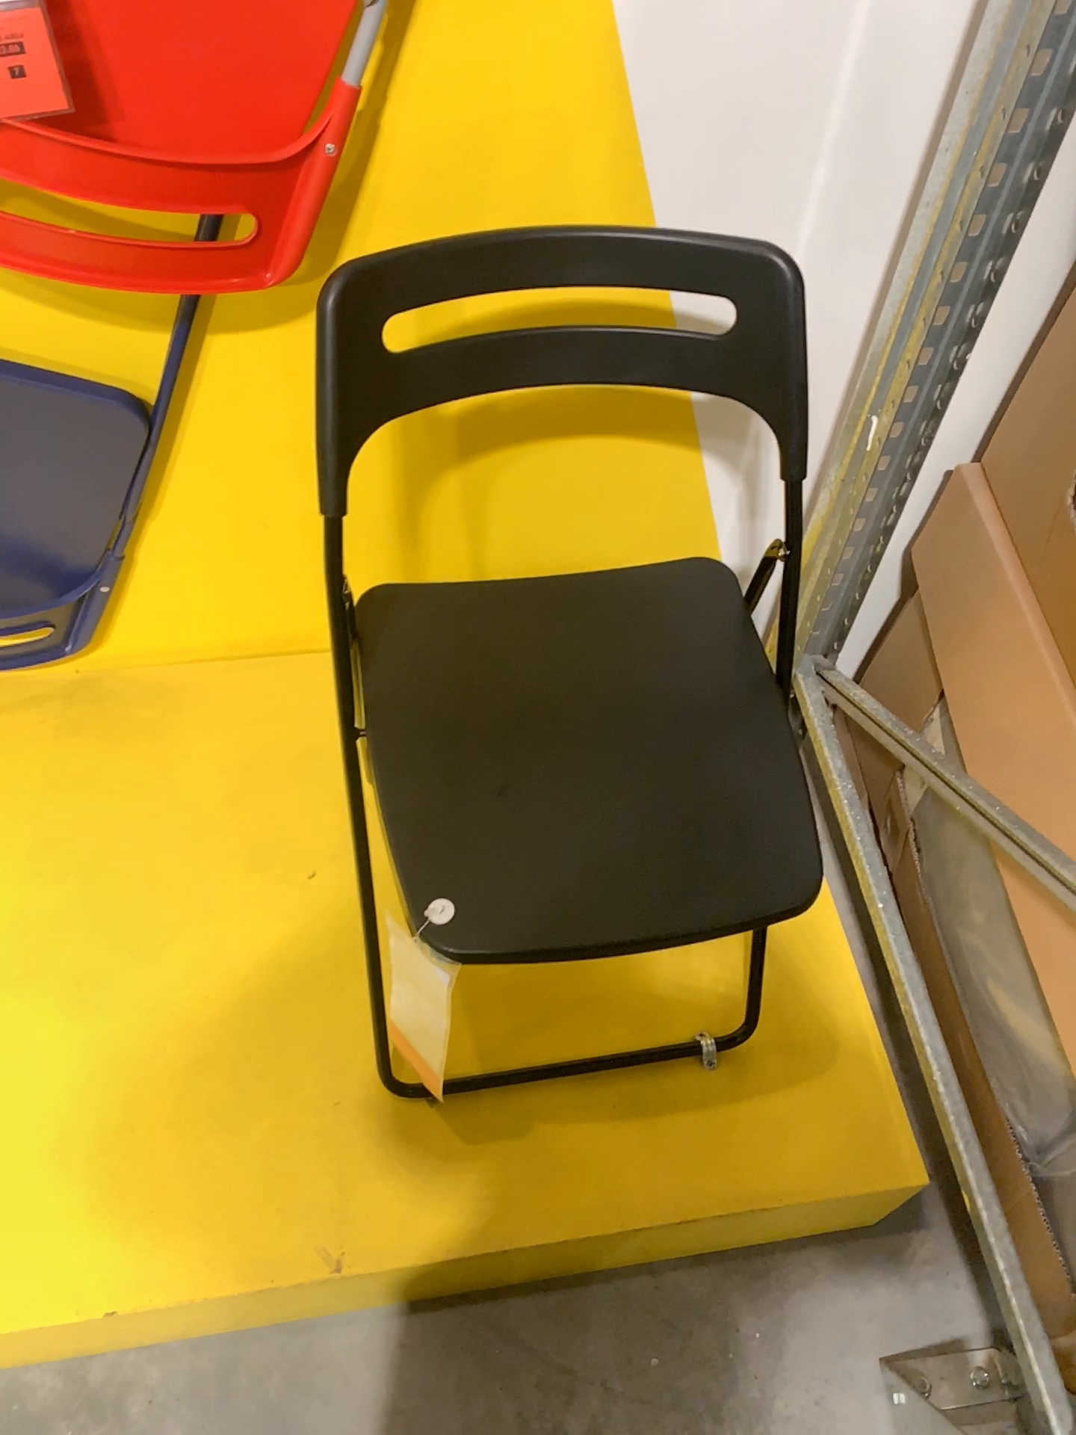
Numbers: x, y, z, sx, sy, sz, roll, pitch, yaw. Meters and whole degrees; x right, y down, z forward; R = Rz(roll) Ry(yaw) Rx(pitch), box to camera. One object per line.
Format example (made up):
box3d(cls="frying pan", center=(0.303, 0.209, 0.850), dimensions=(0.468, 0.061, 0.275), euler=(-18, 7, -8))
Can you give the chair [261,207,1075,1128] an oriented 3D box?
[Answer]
box3d(cls="chair", center=(0.031, 0.005, 0.979), dimensions=(0.440, 0.698, 0.441), euler=(-6, 54, -8))
